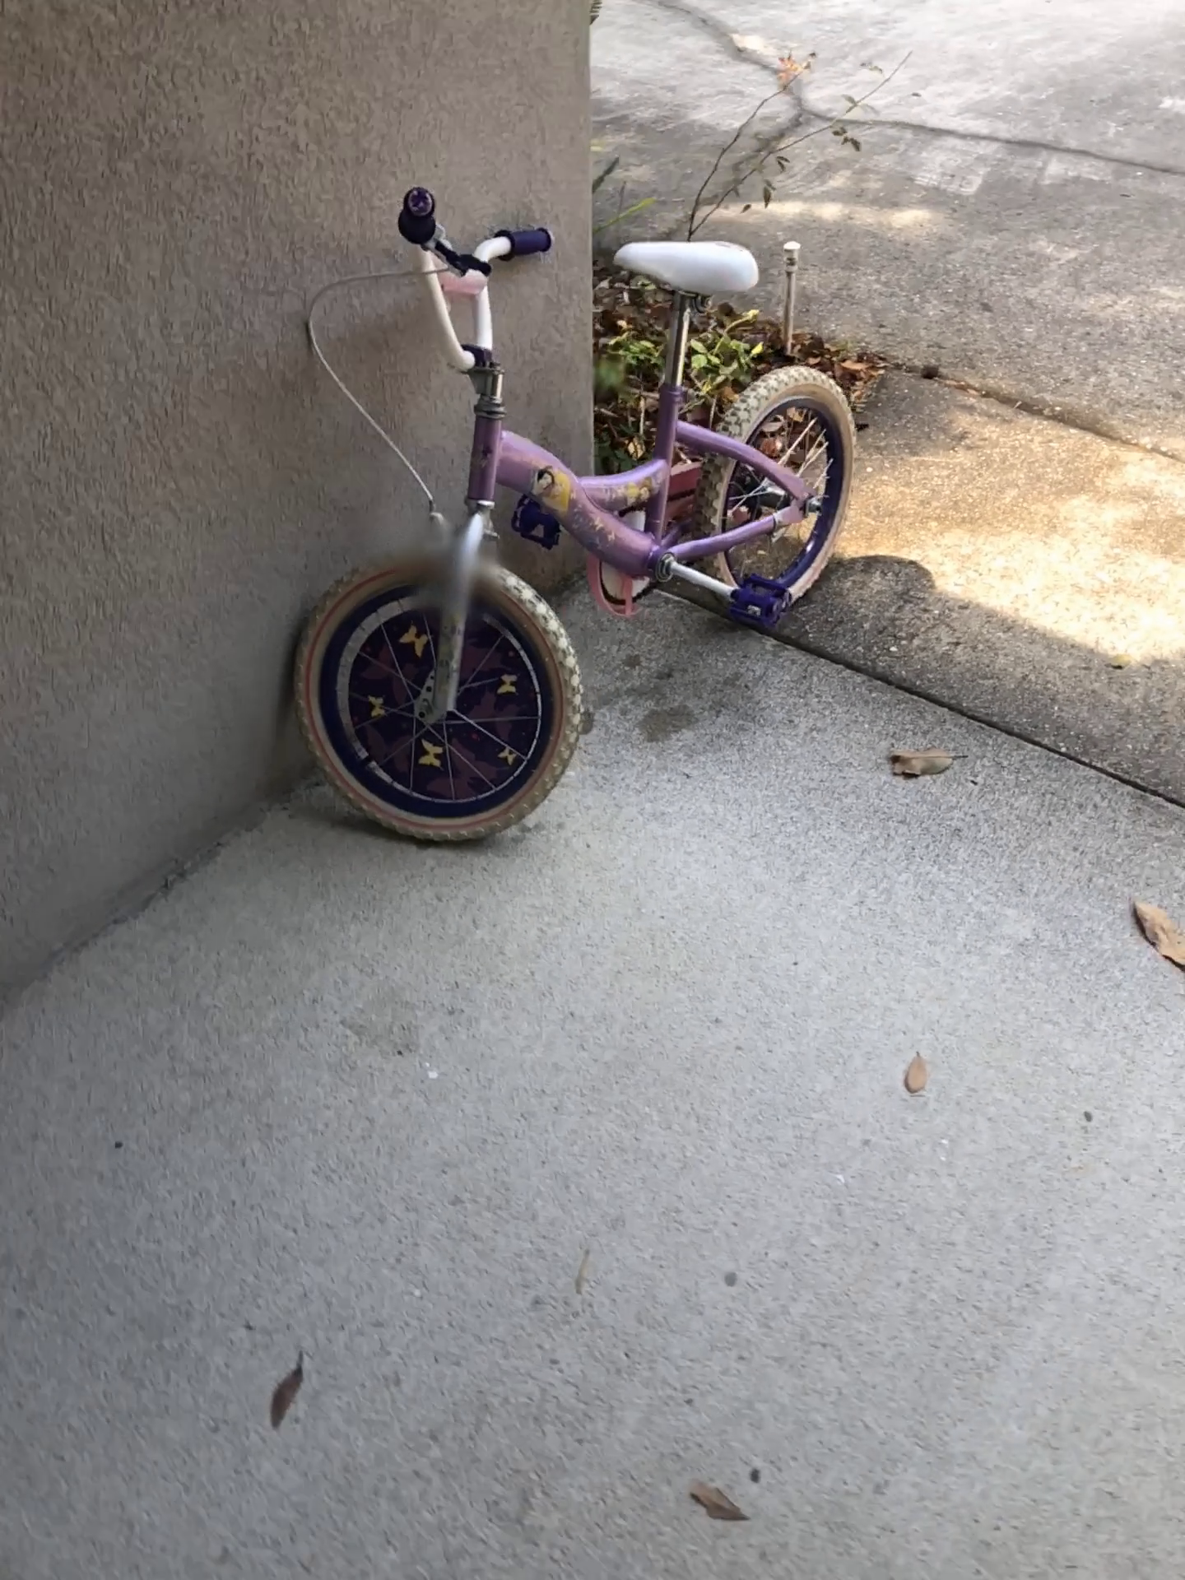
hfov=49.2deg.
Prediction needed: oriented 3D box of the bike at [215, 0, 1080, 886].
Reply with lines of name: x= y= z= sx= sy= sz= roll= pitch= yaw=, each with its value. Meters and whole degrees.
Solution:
bike: x=0.087 y=-0.535 z=1.800 sx=0.617 sy=0.816 sz=0.848 roll=34 pitch=54 yaw=31
